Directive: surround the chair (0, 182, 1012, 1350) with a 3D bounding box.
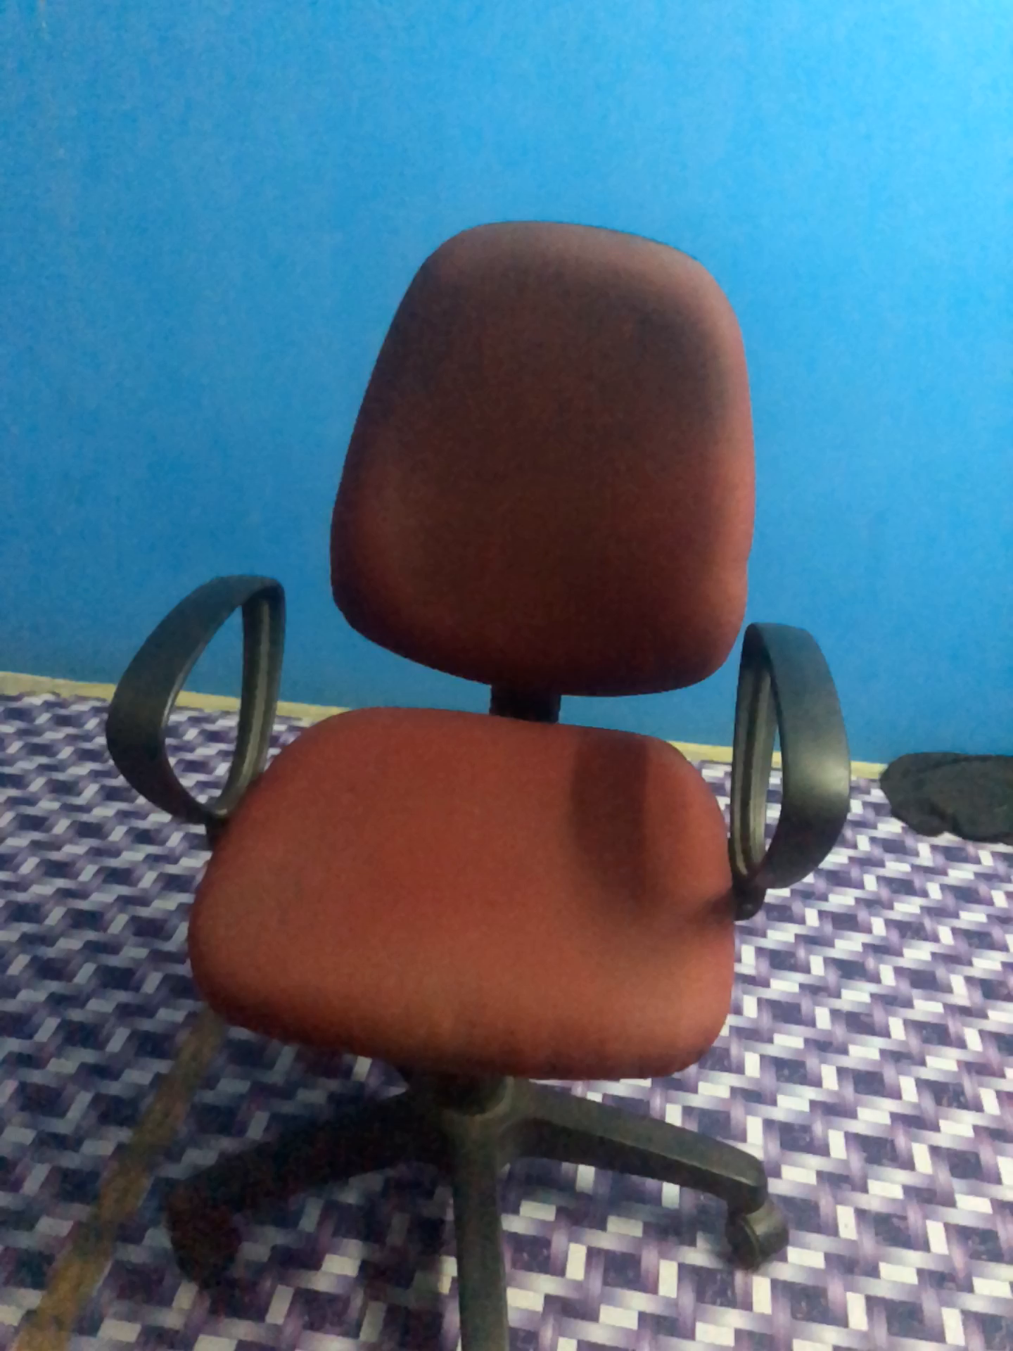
[{"bbox_3d":[-0.024,0.103,0.999,0.700,0.895,0.744,9,30,11],"label":"chair"}]
